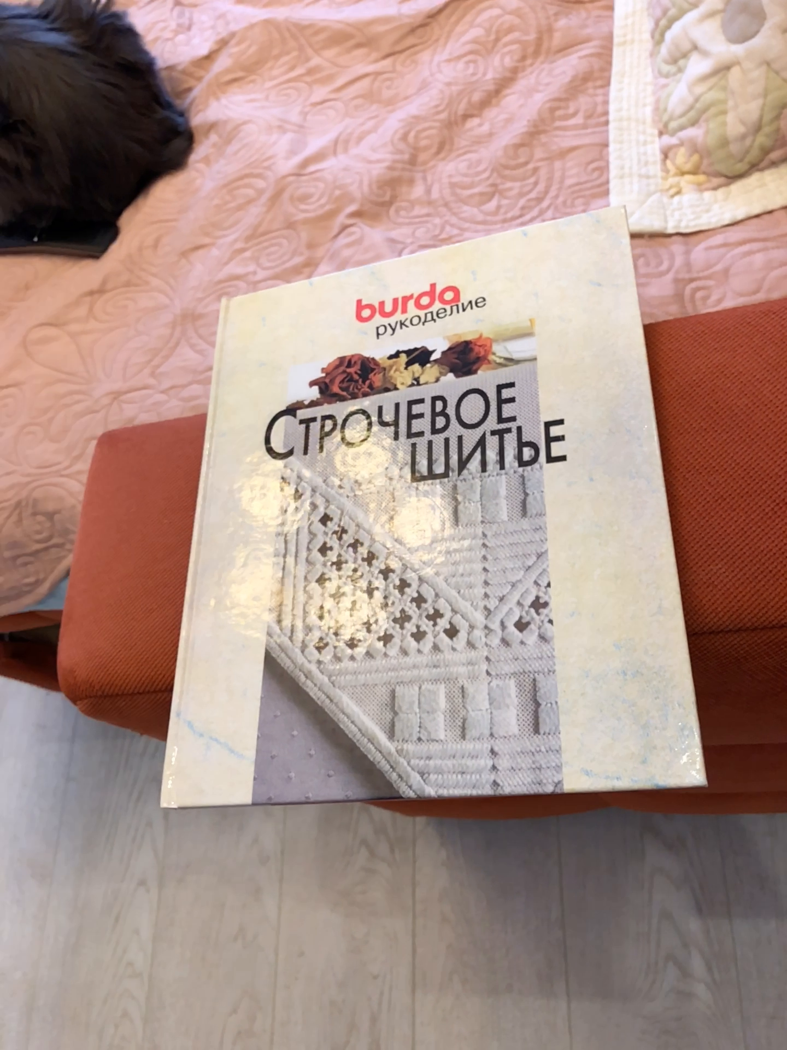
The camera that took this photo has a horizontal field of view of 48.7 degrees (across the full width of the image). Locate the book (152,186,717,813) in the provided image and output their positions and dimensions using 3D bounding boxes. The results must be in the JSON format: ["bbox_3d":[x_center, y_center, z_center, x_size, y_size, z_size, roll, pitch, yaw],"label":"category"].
[{"bbox_3d":[0.008,-0.014,0.378,0.215,0.020,0.259,-8,65,19],"label":"book"}]
